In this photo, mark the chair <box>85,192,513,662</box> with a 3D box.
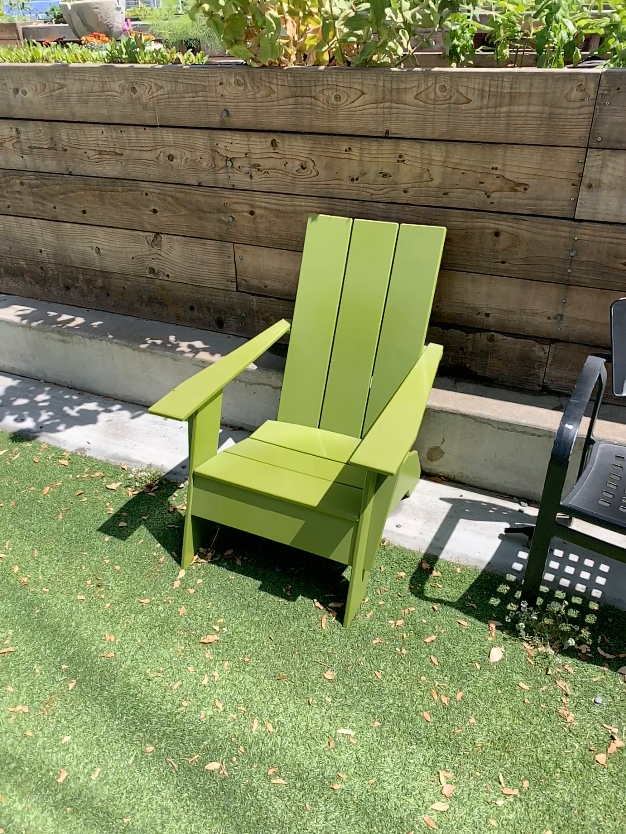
[{"bbox_3d":[0.042,-0.061,1.818,0.722,0.845,0.903,14,37,24],"label":"chair"}]
